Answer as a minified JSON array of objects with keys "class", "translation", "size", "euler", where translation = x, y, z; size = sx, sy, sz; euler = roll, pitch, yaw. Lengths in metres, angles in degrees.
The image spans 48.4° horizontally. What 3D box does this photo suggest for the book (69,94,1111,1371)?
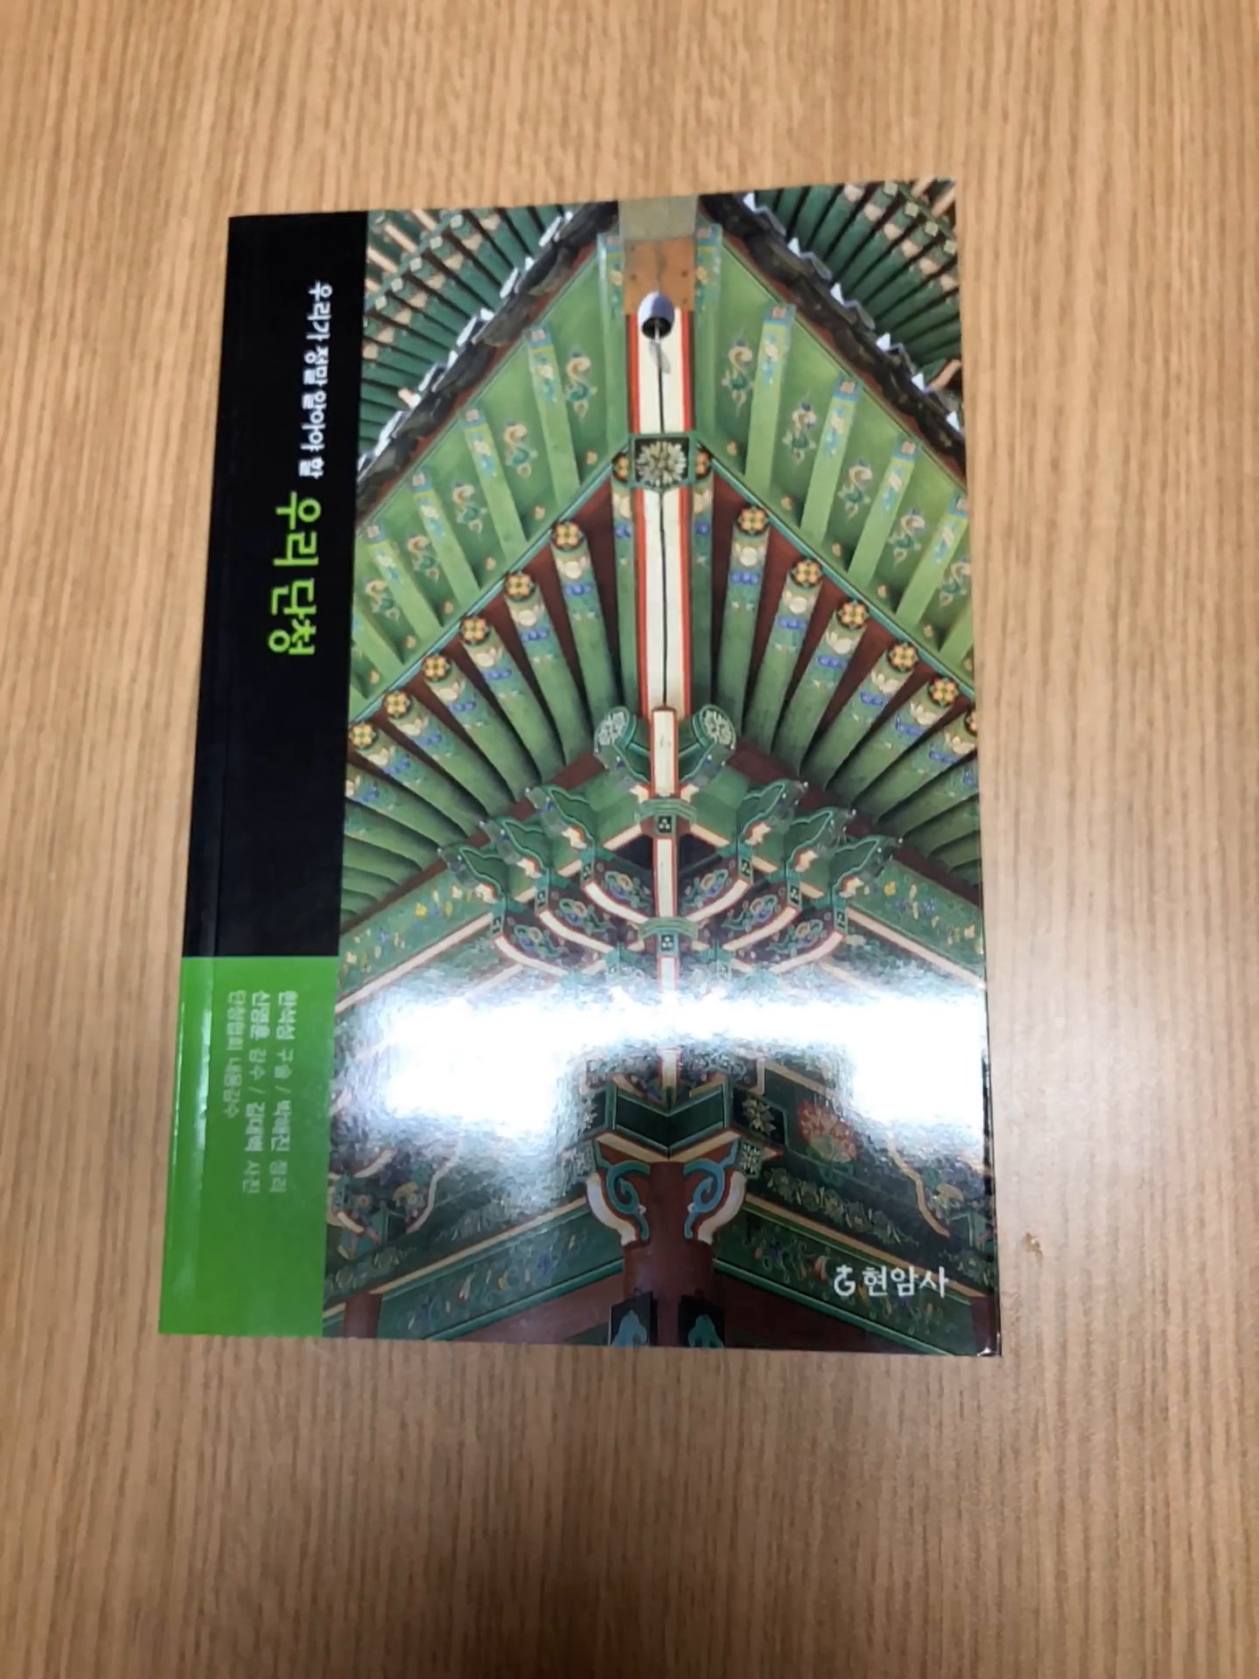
[{"class":"book","translation":[-0.007,-0.022,0.246],"size":[0.160,0.030,0.210],"euler":[-1,81,5]}]
